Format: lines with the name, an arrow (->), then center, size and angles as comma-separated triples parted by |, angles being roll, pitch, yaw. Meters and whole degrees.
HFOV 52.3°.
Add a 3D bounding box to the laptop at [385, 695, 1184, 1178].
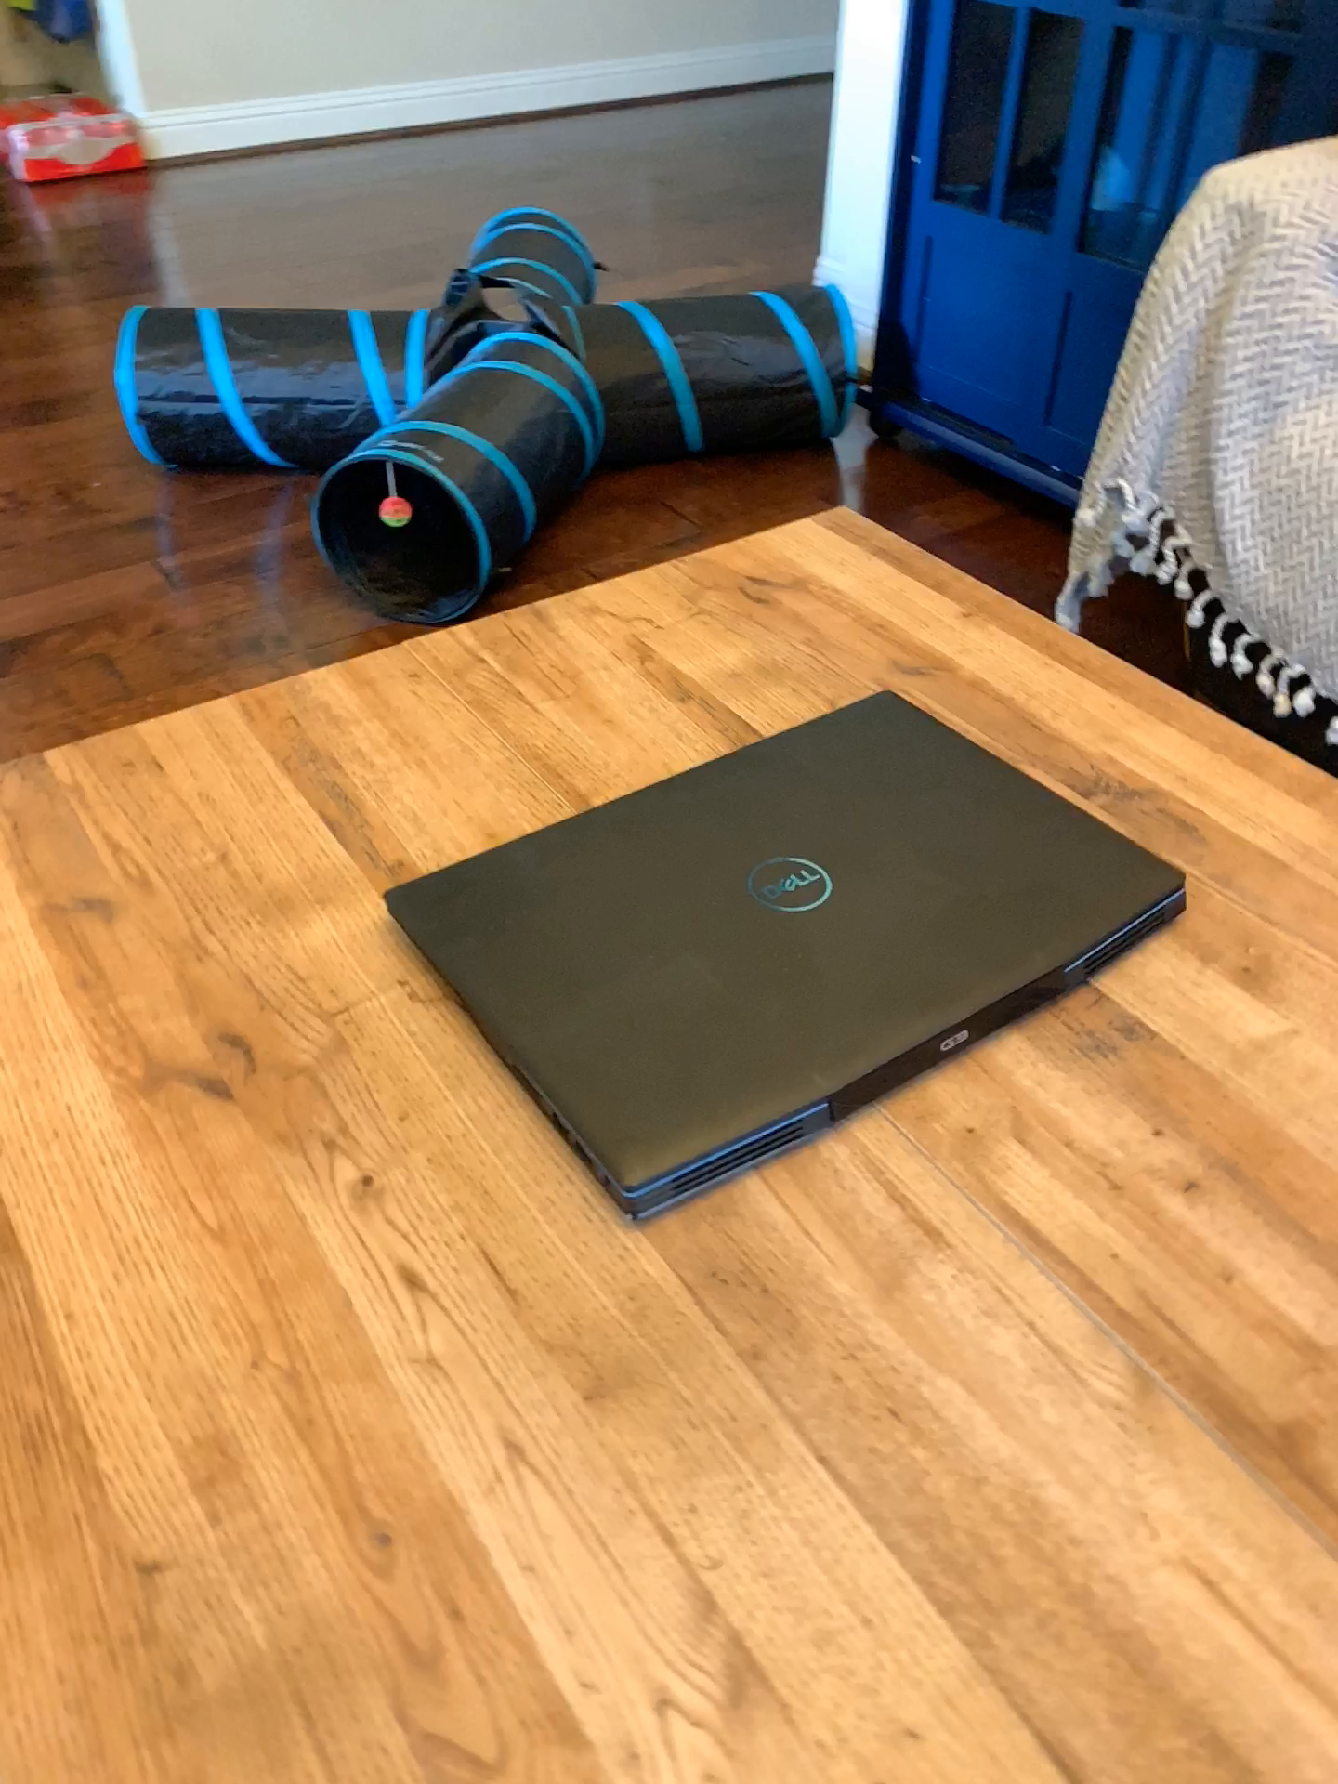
laptop -> 0.060, -0.002, 0.714 | 0.346, 0.001, 0.228 | -24, 45, -25
